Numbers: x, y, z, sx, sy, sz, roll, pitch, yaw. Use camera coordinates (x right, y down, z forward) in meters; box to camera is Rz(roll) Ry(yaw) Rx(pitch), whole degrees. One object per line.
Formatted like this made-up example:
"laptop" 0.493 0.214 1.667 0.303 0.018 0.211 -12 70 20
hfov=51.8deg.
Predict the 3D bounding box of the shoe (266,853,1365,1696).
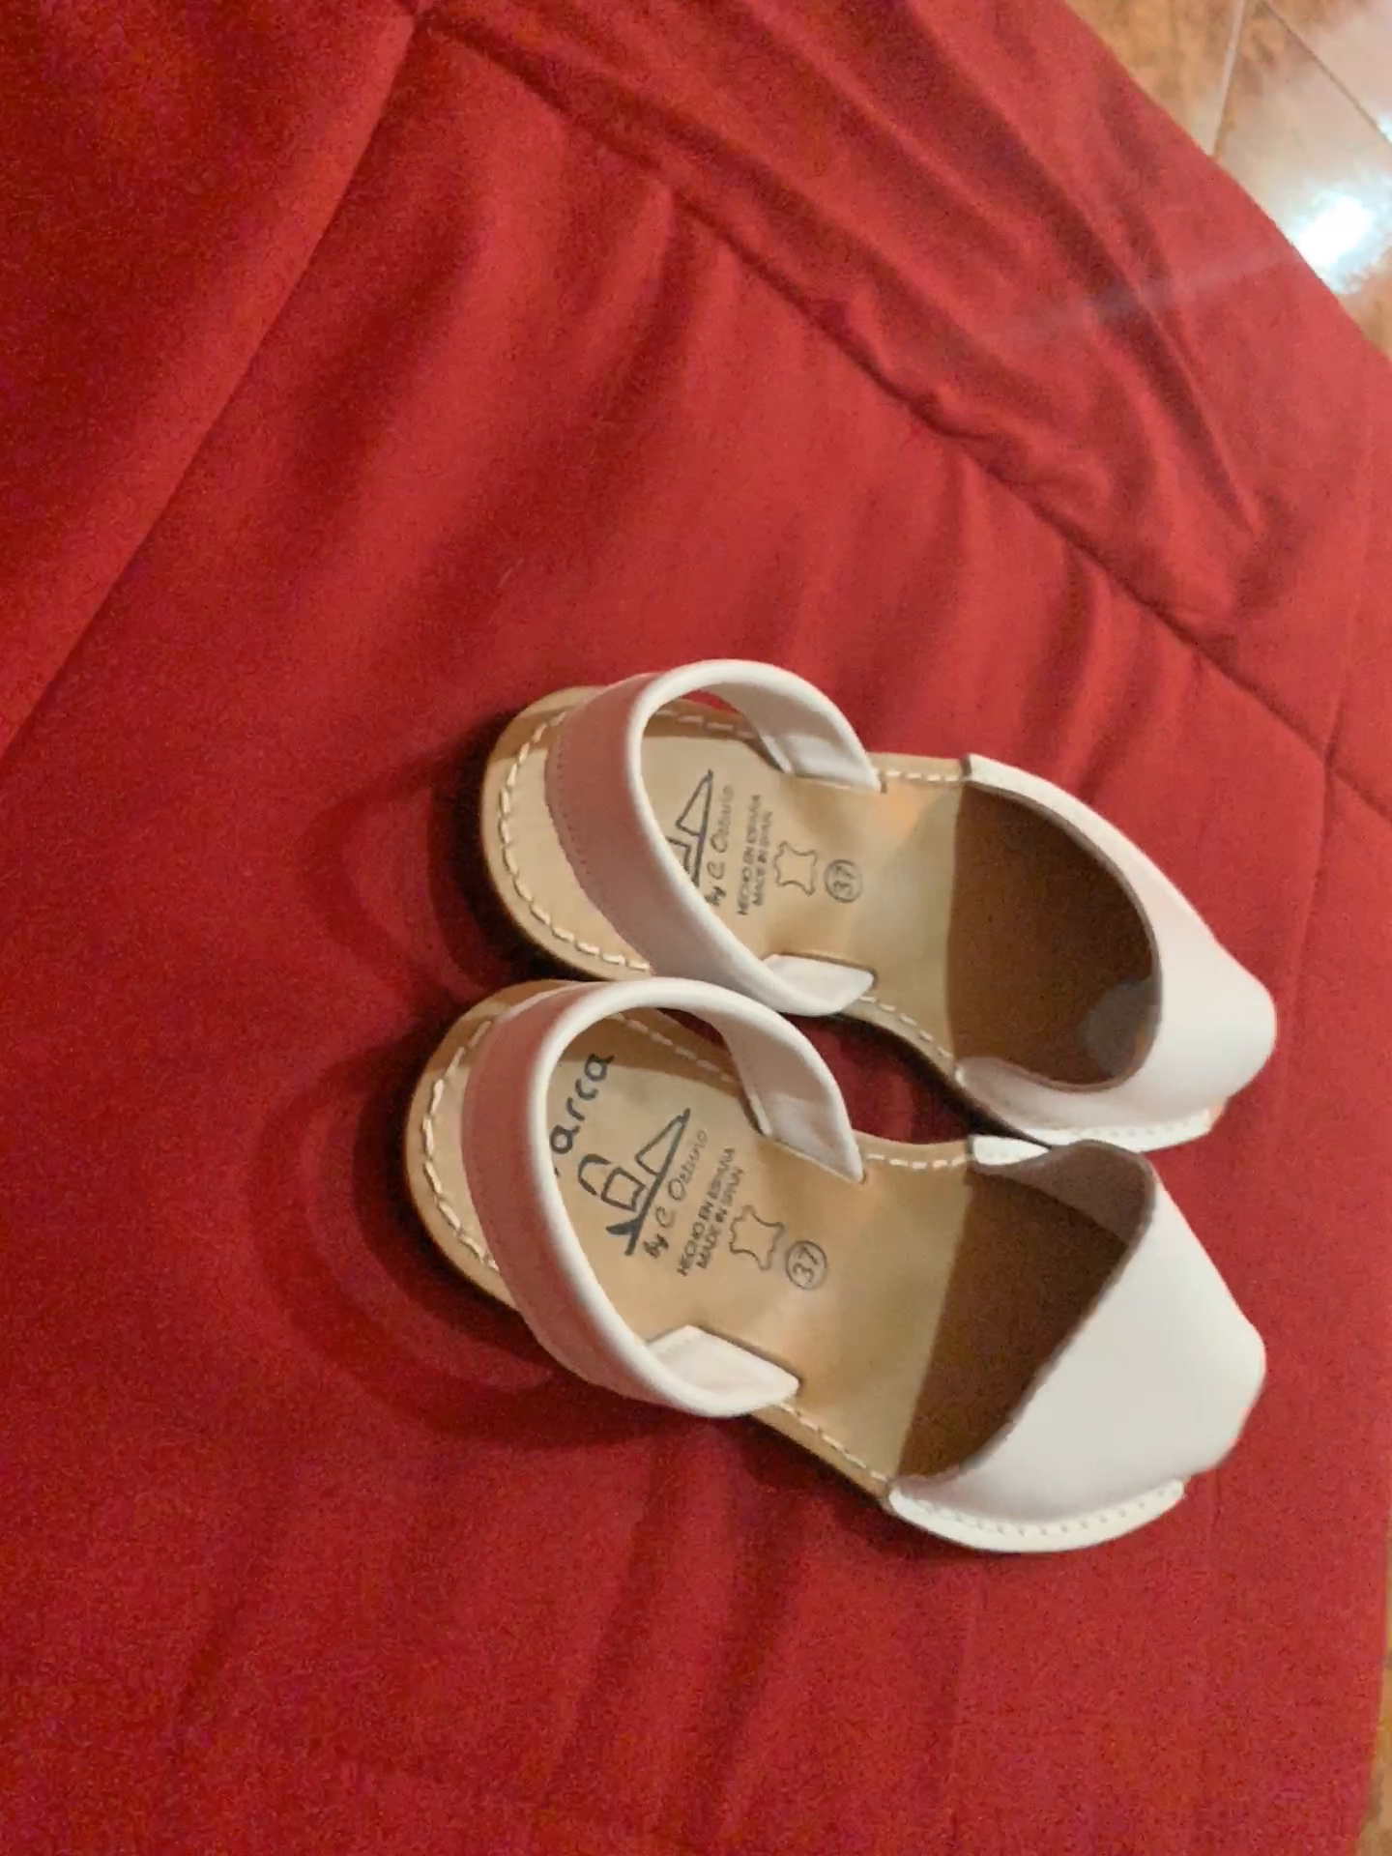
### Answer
"shoe" 0.046 0.090 0.327 0.248 0.063 0.108 26 66 -26

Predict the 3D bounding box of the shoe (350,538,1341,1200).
"shoe" 0.052 0.003 0.353 0.250 0.063 0.103 12 72 -31
